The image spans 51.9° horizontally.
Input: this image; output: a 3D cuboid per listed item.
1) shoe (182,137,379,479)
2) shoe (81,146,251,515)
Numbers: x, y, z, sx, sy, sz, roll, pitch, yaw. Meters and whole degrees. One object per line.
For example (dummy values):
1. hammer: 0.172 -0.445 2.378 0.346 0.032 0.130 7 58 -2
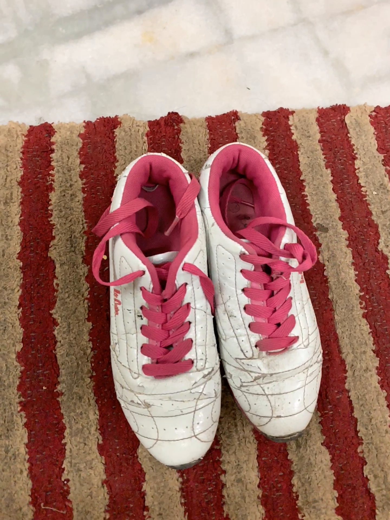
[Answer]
1. shoe: 0.055 0.033 0.341 0.100 0.100 0.240 -6 75 -5
2. shoe: -0.028 0.045 0.323 0.090 0.100 0.240 -6 75 -5
